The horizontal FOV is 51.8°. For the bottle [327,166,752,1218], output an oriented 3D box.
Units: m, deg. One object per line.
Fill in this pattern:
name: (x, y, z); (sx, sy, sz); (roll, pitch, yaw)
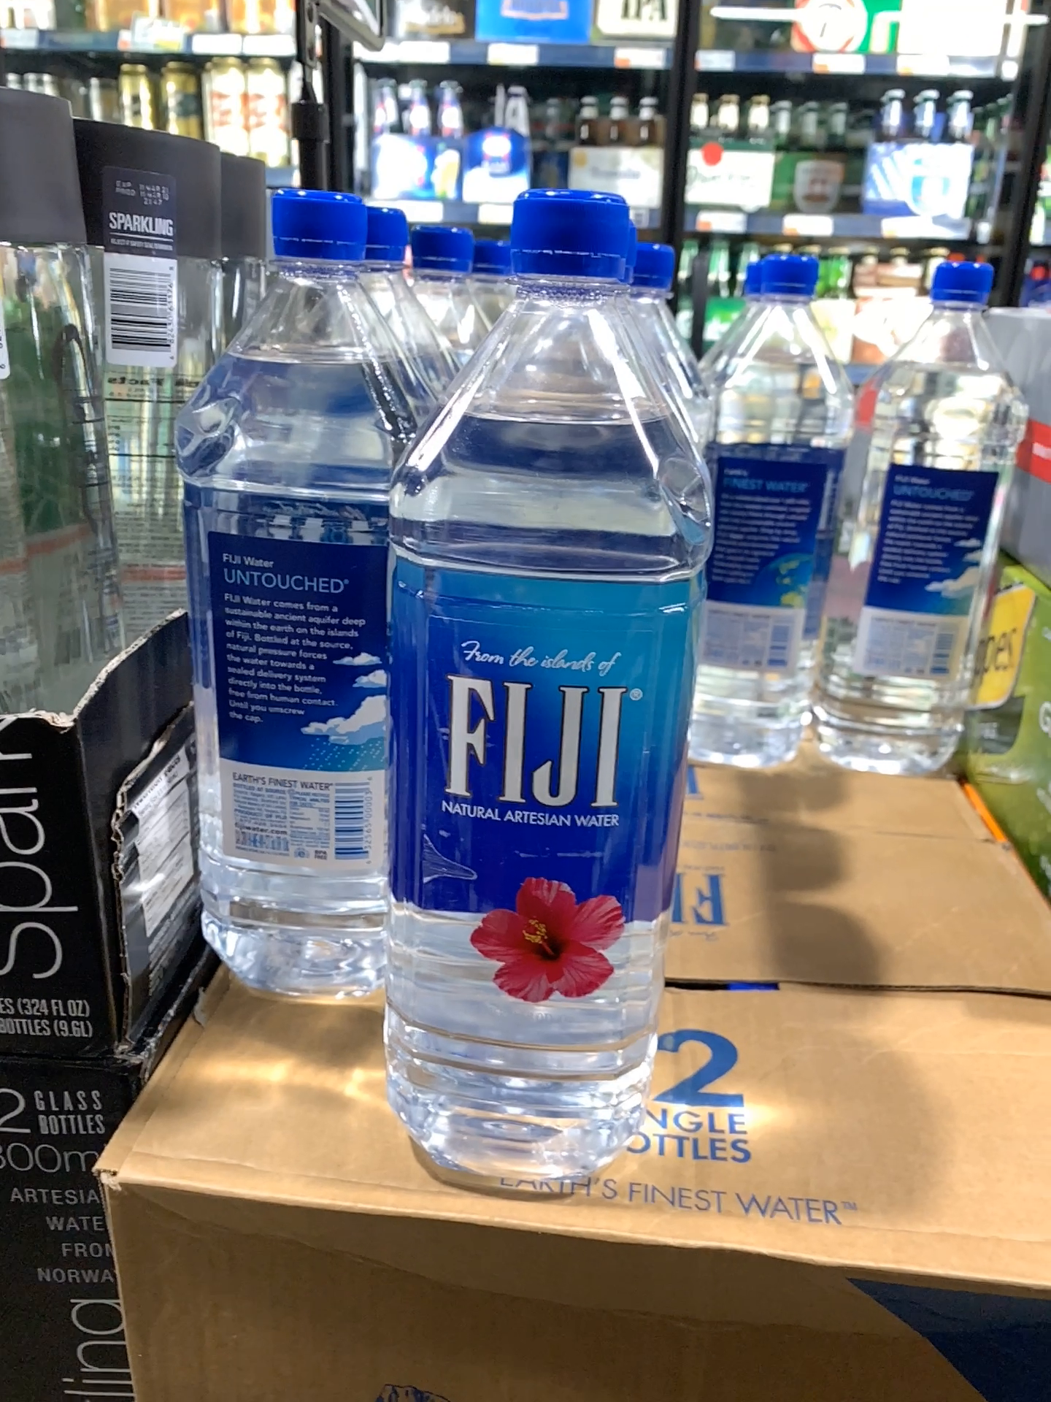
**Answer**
bottle: (0.003, 0.005, 0.313); (0.090, 0.279, 0.080); (5, 21, 8)
